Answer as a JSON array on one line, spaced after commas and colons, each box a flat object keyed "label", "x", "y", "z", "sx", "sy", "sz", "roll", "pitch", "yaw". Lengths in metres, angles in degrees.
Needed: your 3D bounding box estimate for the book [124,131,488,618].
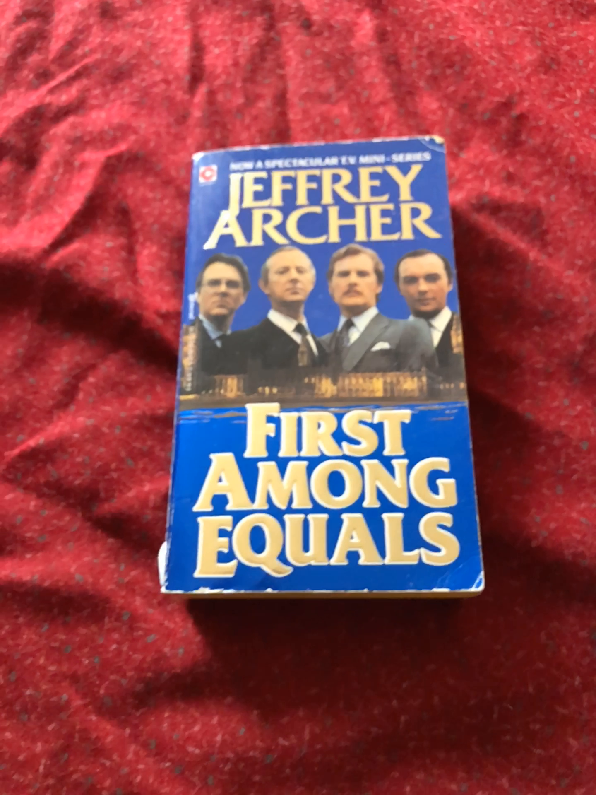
[{"label": "book", "x": 0.003, "y": -0.011, "z": 0.251, "sx": 0.110, "sy": 0.038, "sz": 0.177, "roll": -1, "pitch": 70, "yaw": 4}]
